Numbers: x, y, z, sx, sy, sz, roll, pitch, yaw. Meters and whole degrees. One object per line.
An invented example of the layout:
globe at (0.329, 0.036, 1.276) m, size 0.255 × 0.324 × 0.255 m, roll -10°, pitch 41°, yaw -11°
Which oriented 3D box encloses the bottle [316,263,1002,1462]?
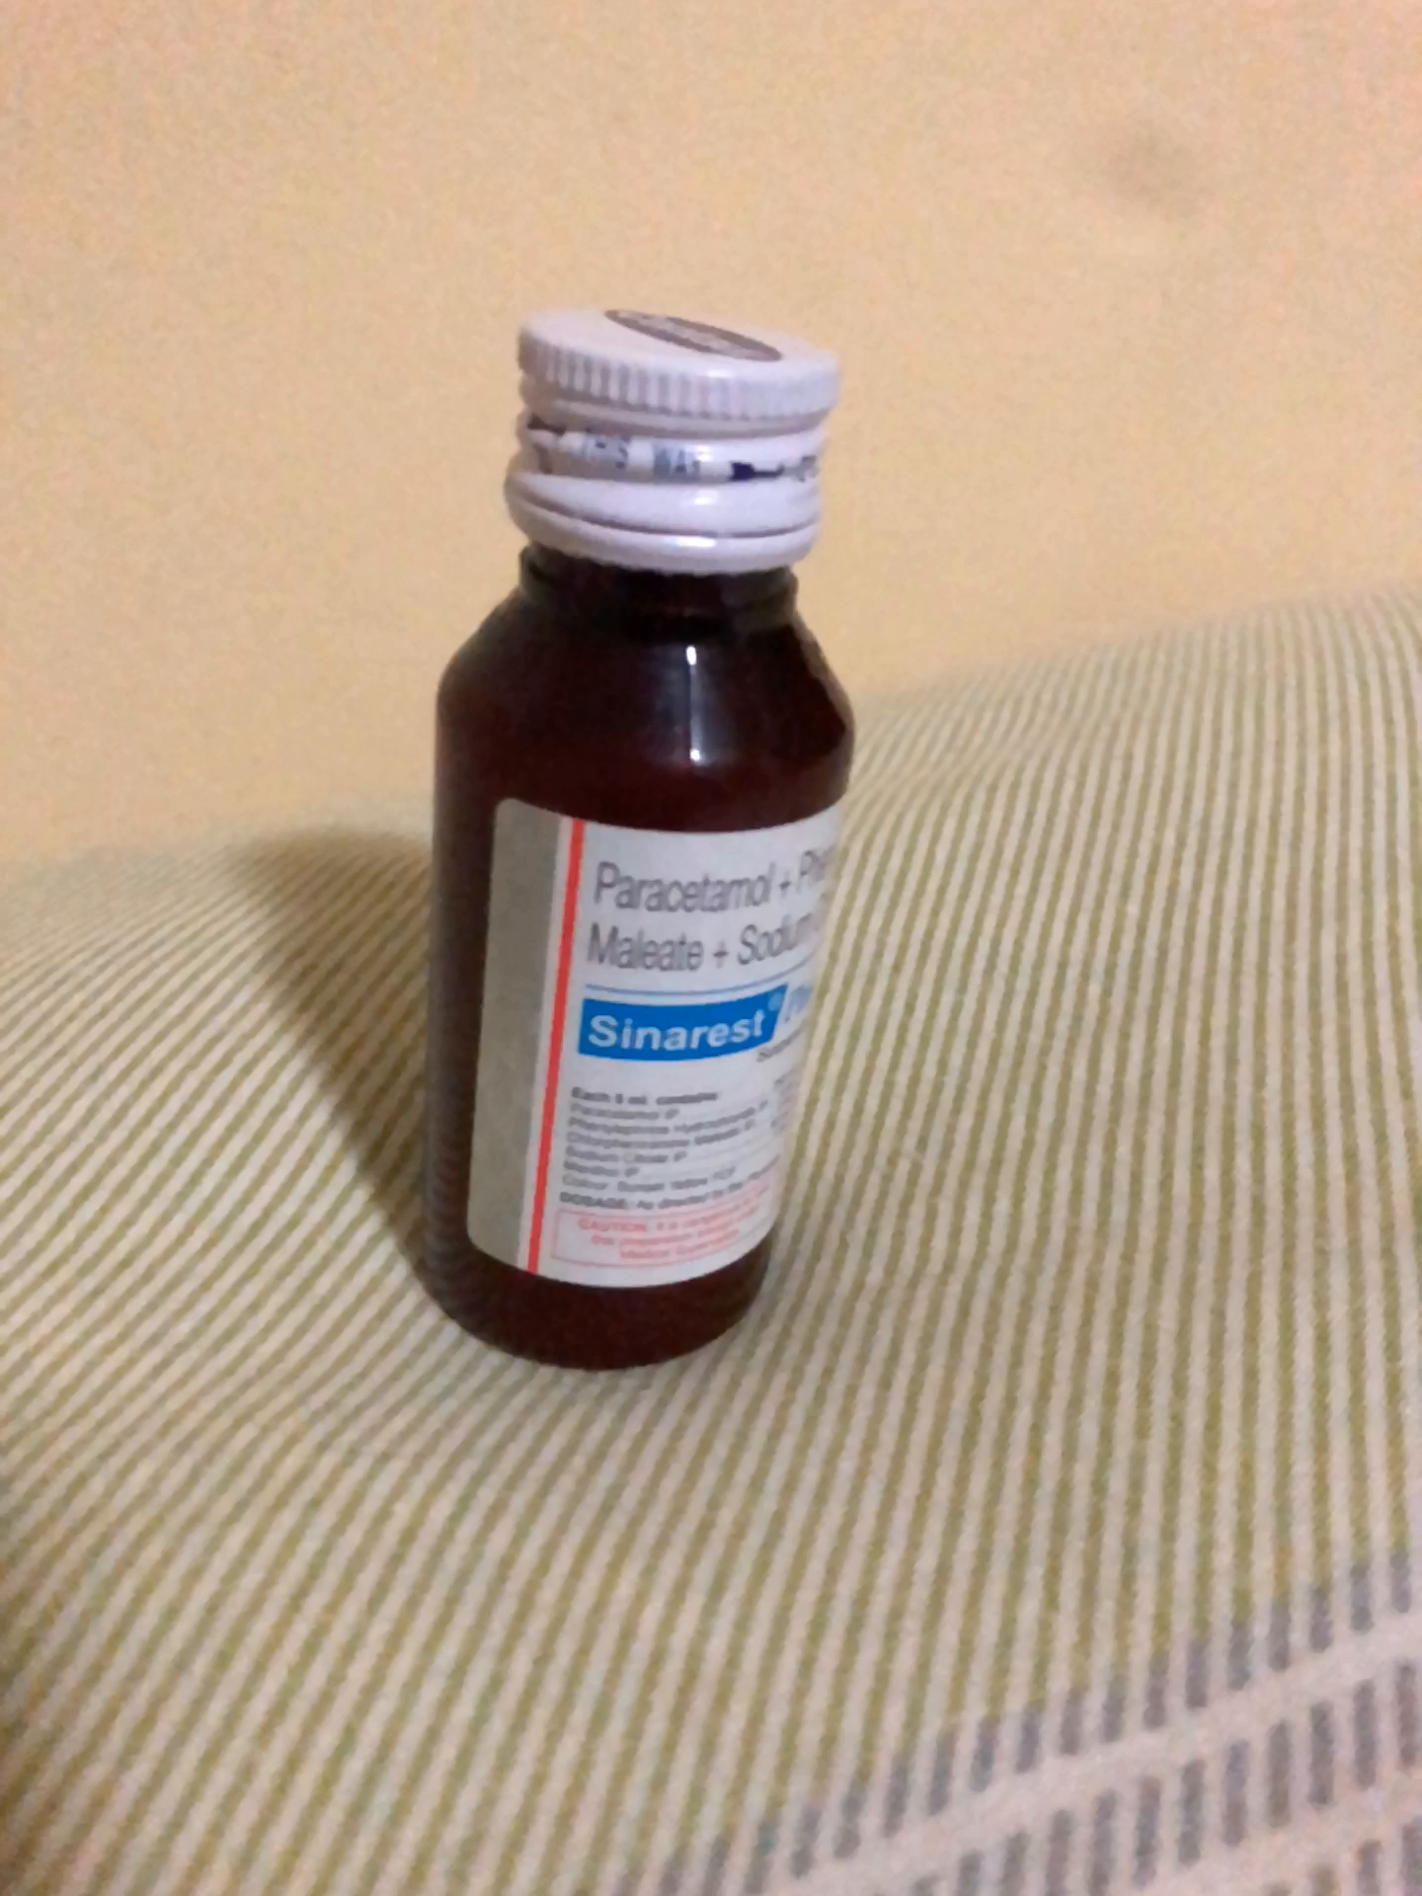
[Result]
bottle at (-0.010, -0.008, 0.153) m, size 0.040 × 0.100 × 0.040 m, roll 5°, pitch 28°, yaw -3°
